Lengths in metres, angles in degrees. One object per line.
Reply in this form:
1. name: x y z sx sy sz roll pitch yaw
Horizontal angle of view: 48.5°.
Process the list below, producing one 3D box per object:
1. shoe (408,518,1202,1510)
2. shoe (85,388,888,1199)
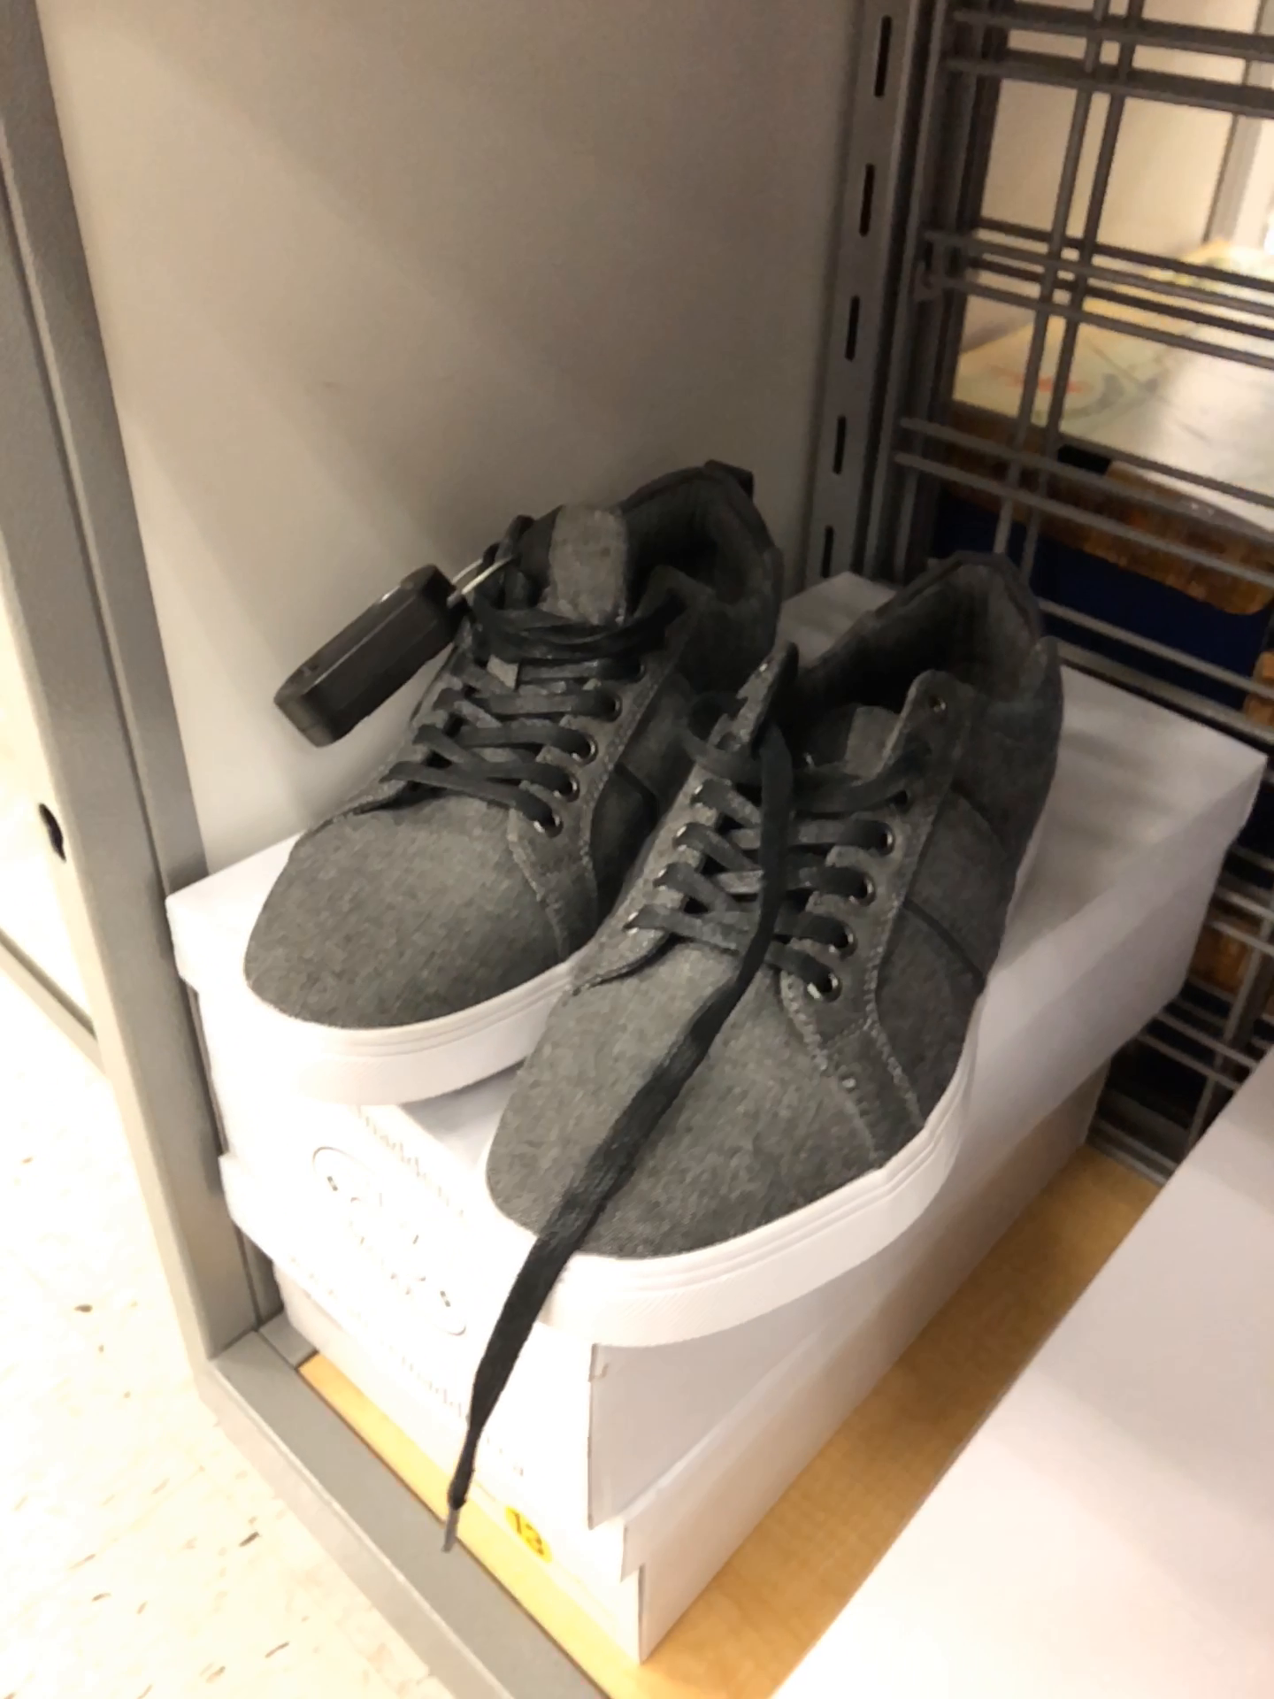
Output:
1. shoe: 0.060 0.017 0.380 0.100 0.106 0.255 20 41 22
2. shoe: -0.023 -0.040 0.430 0.110 0.106 0.255 17 40 20
